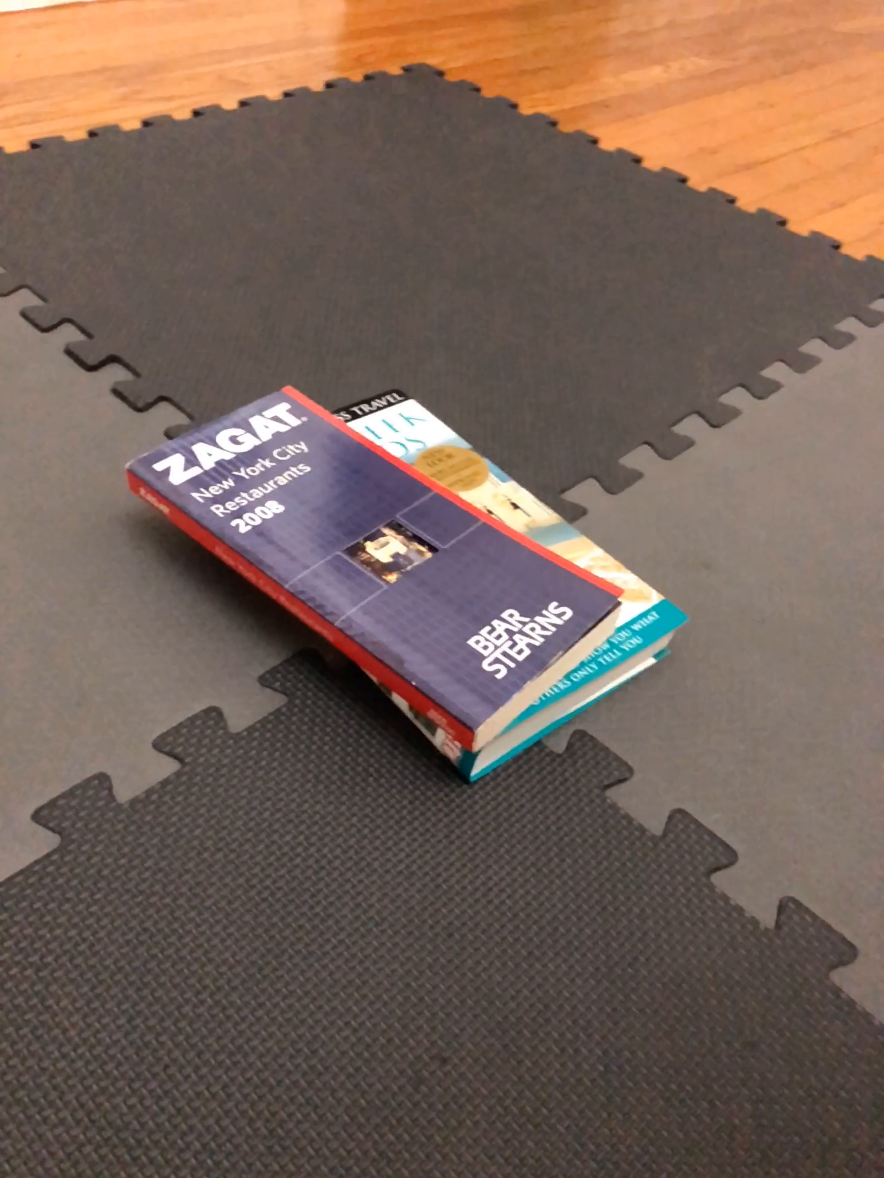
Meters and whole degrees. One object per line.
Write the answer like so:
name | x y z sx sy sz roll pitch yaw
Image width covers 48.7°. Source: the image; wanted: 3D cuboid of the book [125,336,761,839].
book | -0.007 -0.026 0.466 0.171 0.030 0.261 -28 55 -32

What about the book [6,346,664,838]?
book | -0.050 -0.021 0.428 0.250 0.020 0.151 34 49 24
